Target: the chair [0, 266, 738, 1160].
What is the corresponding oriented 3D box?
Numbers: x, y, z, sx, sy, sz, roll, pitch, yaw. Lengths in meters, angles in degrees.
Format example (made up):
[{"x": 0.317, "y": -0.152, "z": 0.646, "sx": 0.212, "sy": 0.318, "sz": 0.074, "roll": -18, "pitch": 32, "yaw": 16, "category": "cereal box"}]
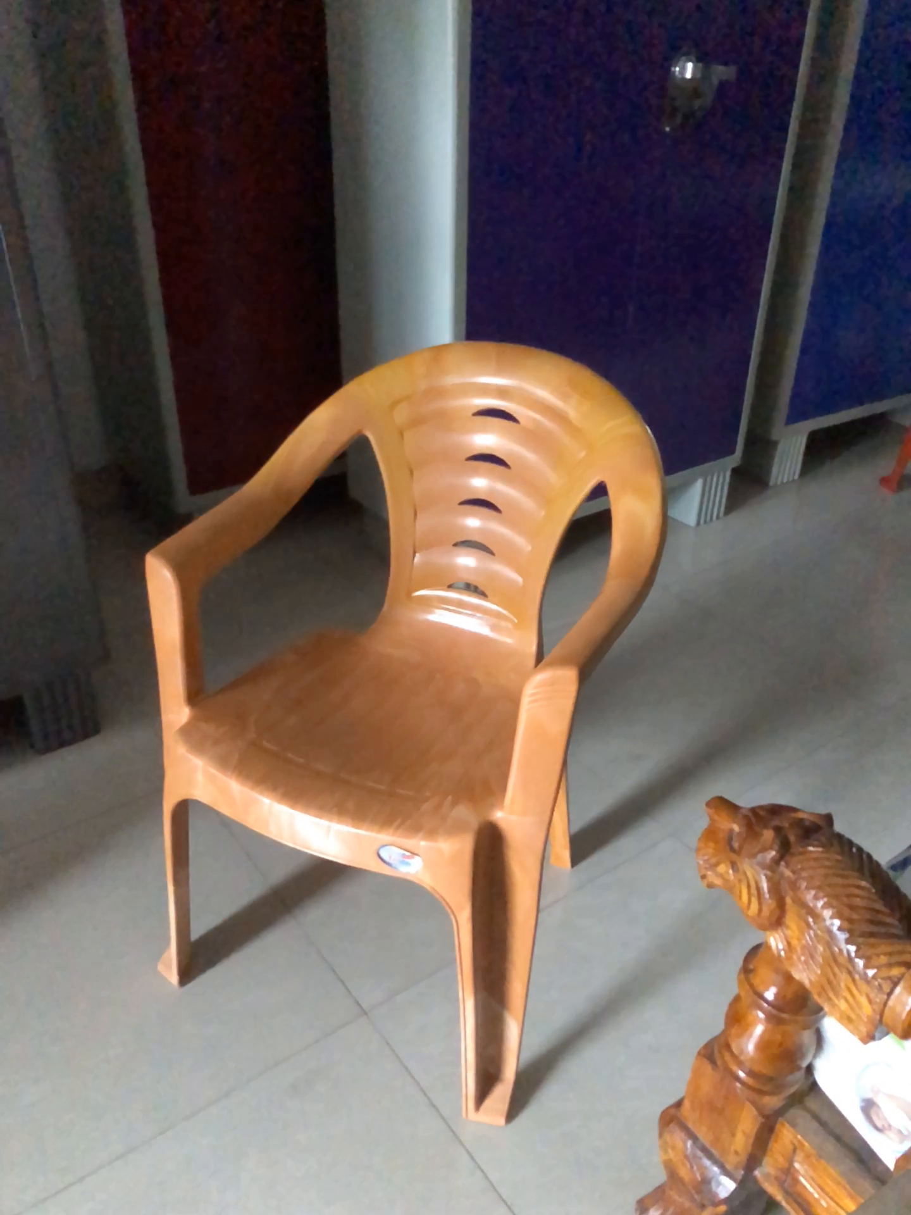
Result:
[{"x": -0.066, "y": 0.076, "z": 1.311, "sx": 0.630, "sy": 0.846, "sz": 0.603, "roll": 13, "pitch": 33, "yaw": 21, "category": "chair"}]
